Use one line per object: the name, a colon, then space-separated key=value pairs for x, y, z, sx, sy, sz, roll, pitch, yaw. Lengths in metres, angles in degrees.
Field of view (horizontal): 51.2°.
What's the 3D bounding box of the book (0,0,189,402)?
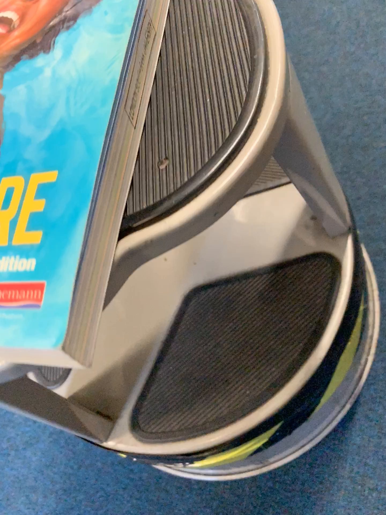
book: x=-0.115 y=-0.079 z=0.208 sx=0.200 sy=0.030 sz=0.271 roll=-3 pitch=65 yaw=21
